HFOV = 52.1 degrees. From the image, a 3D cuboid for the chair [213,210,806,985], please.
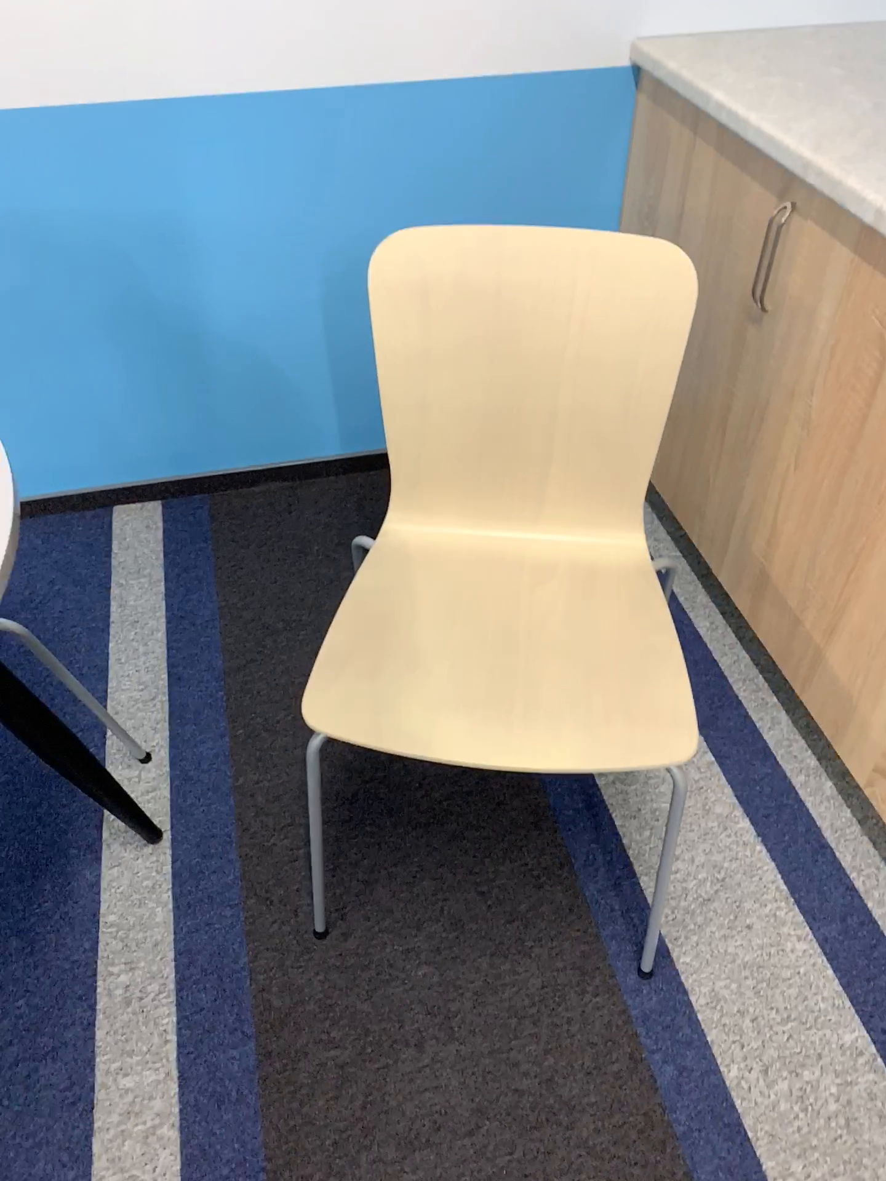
[{"bbox_3d":[0.086,0.029,1.217,0.476,0.836,0.573,5,43,6],"label":"chair"}]
